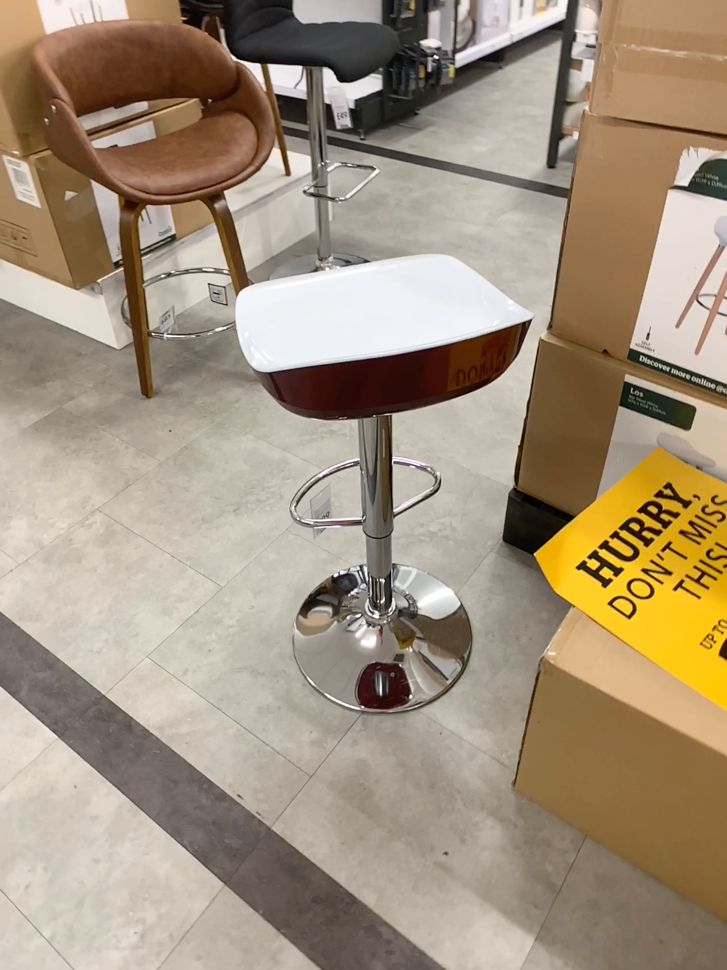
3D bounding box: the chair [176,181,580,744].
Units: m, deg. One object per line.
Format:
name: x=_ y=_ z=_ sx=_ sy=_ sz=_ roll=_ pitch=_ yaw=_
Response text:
chair: x=0.003 y=-0.015 z=1.280 sx=0.435 sy=0.792 sz=0.438 roll=-14 pitch=43 yaw=-12
